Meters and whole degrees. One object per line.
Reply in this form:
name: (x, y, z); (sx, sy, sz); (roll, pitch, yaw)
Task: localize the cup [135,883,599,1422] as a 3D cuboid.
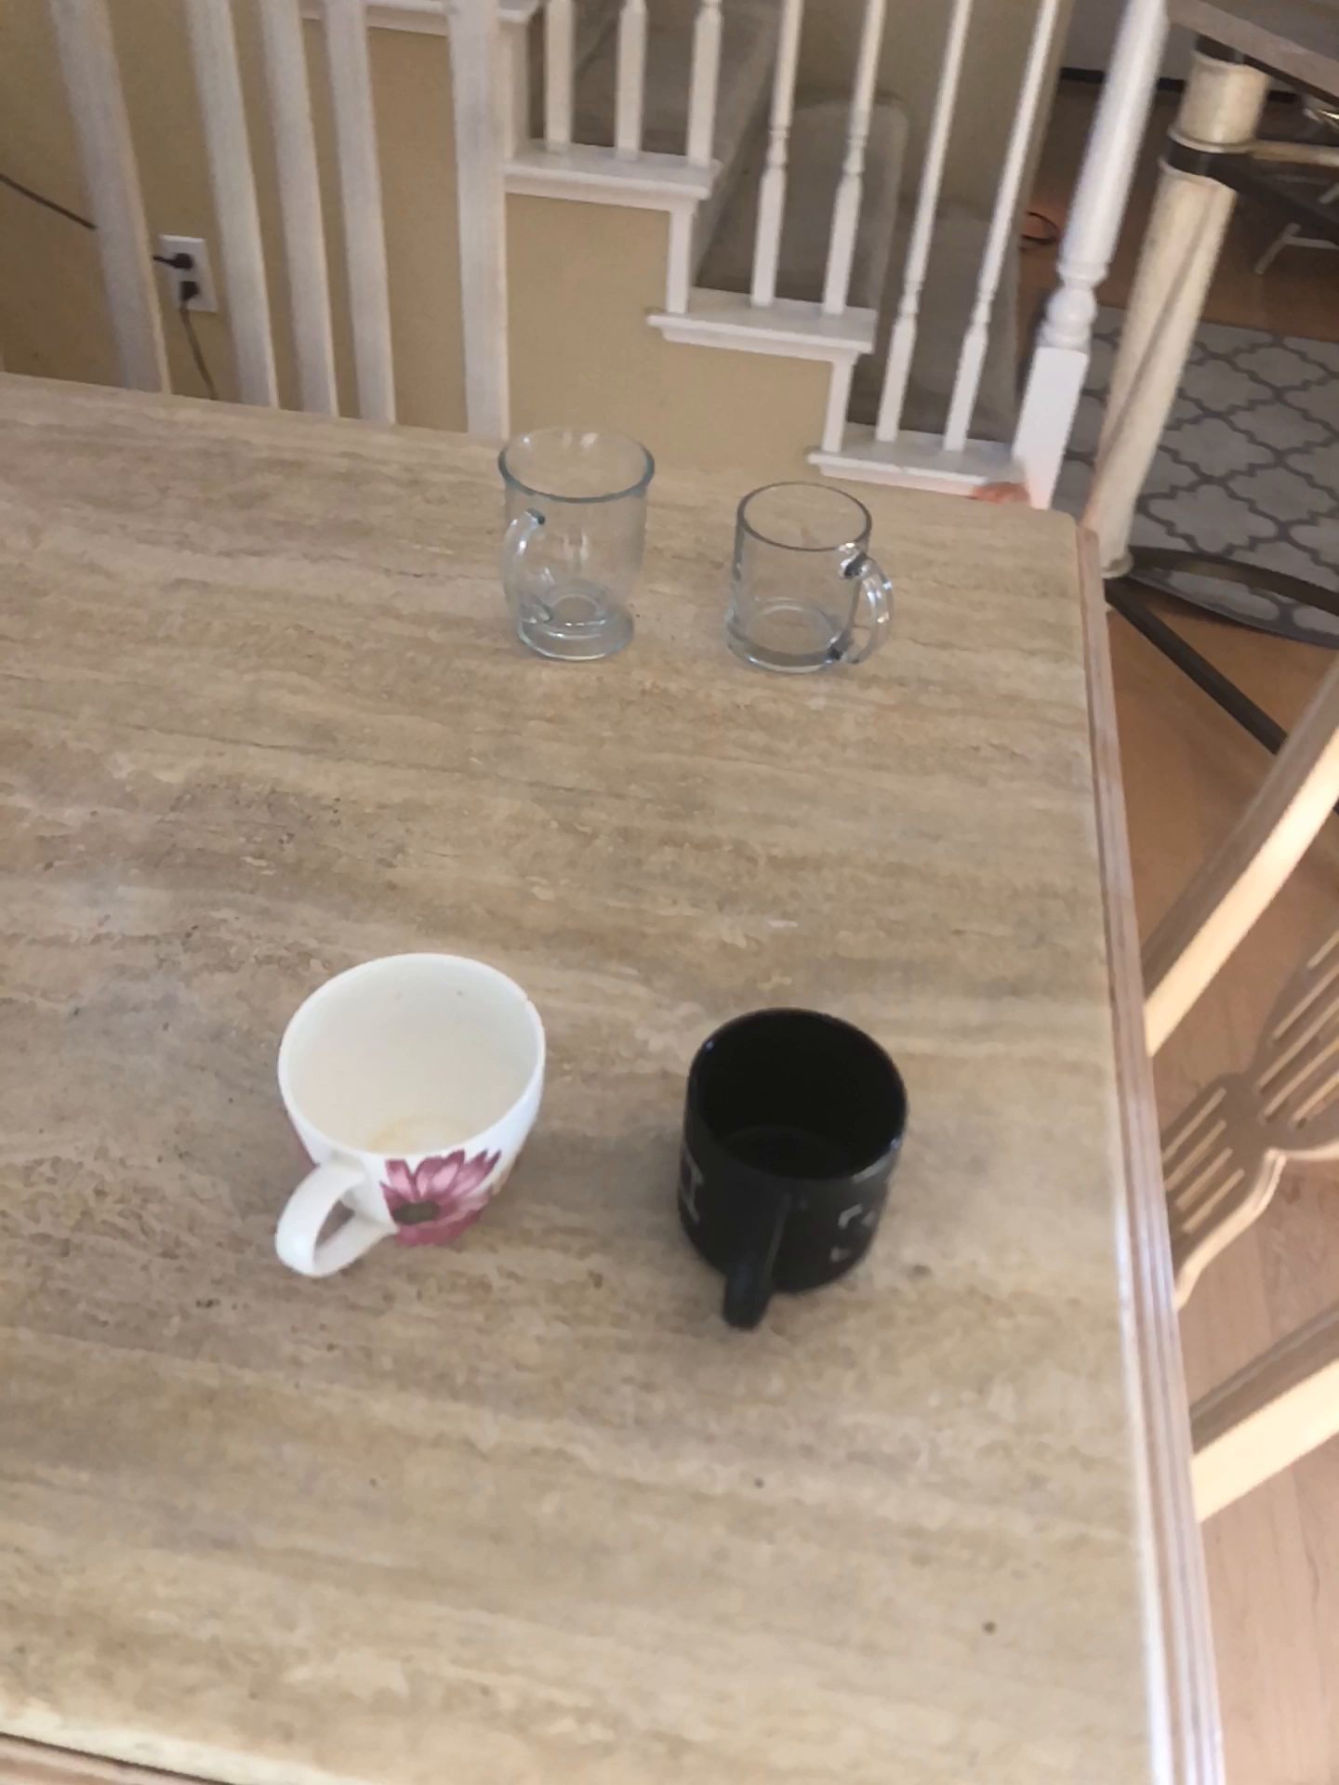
cup: (-0.114, 0.101, 0.606); (0.100, 0.099, 0.171); (20, 46, 16)

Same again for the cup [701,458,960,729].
cup: (0.103, -0.199, 0.971); (0.130, 0.109, 0.091); (29, 49, 23)

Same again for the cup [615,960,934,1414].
cup: (0.045, 0.124, 0.628); (0.090, 0.109, 0.131); (17, 45, 13)

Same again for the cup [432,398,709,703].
cup: (-0.061, -0.222, 0.940); (0.110, 0.109, 0.151); (21, 46, 17)
